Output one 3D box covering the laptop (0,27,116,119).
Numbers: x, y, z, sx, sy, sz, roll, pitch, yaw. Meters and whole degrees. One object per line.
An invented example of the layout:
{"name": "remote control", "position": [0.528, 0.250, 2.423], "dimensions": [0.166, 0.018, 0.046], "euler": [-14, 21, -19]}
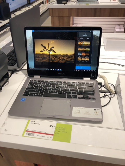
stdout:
{"name": "laptop", "position": [-0.016, -0.056, 0.507], "dimensions": [0.319, 0.211, 0.291], "euler": [2, 38, 5]}
